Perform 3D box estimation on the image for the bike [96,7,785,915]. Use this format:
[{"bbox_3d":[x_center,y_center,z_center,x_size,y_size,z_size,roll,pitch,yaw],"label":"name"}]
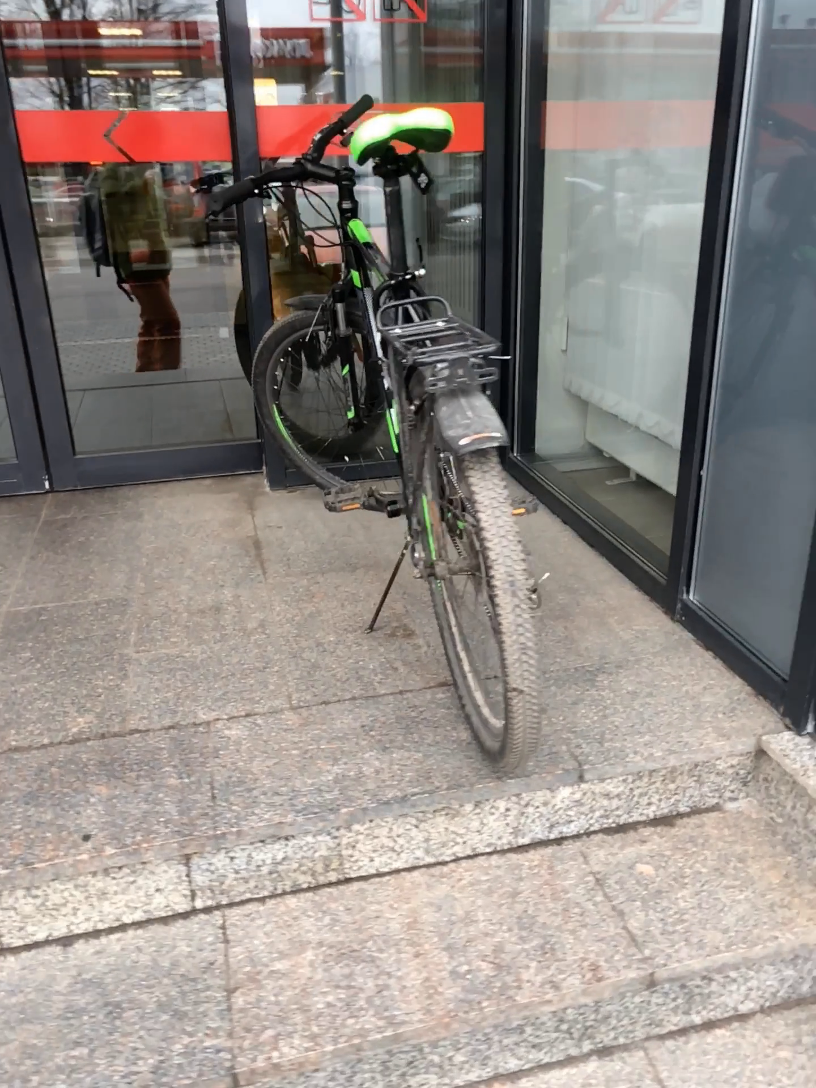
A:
[{"bbox_3d":[-0.159,-0.299,1.752,0.628,1.051,1.552,-9,23,-19],"label":"bike"}]
